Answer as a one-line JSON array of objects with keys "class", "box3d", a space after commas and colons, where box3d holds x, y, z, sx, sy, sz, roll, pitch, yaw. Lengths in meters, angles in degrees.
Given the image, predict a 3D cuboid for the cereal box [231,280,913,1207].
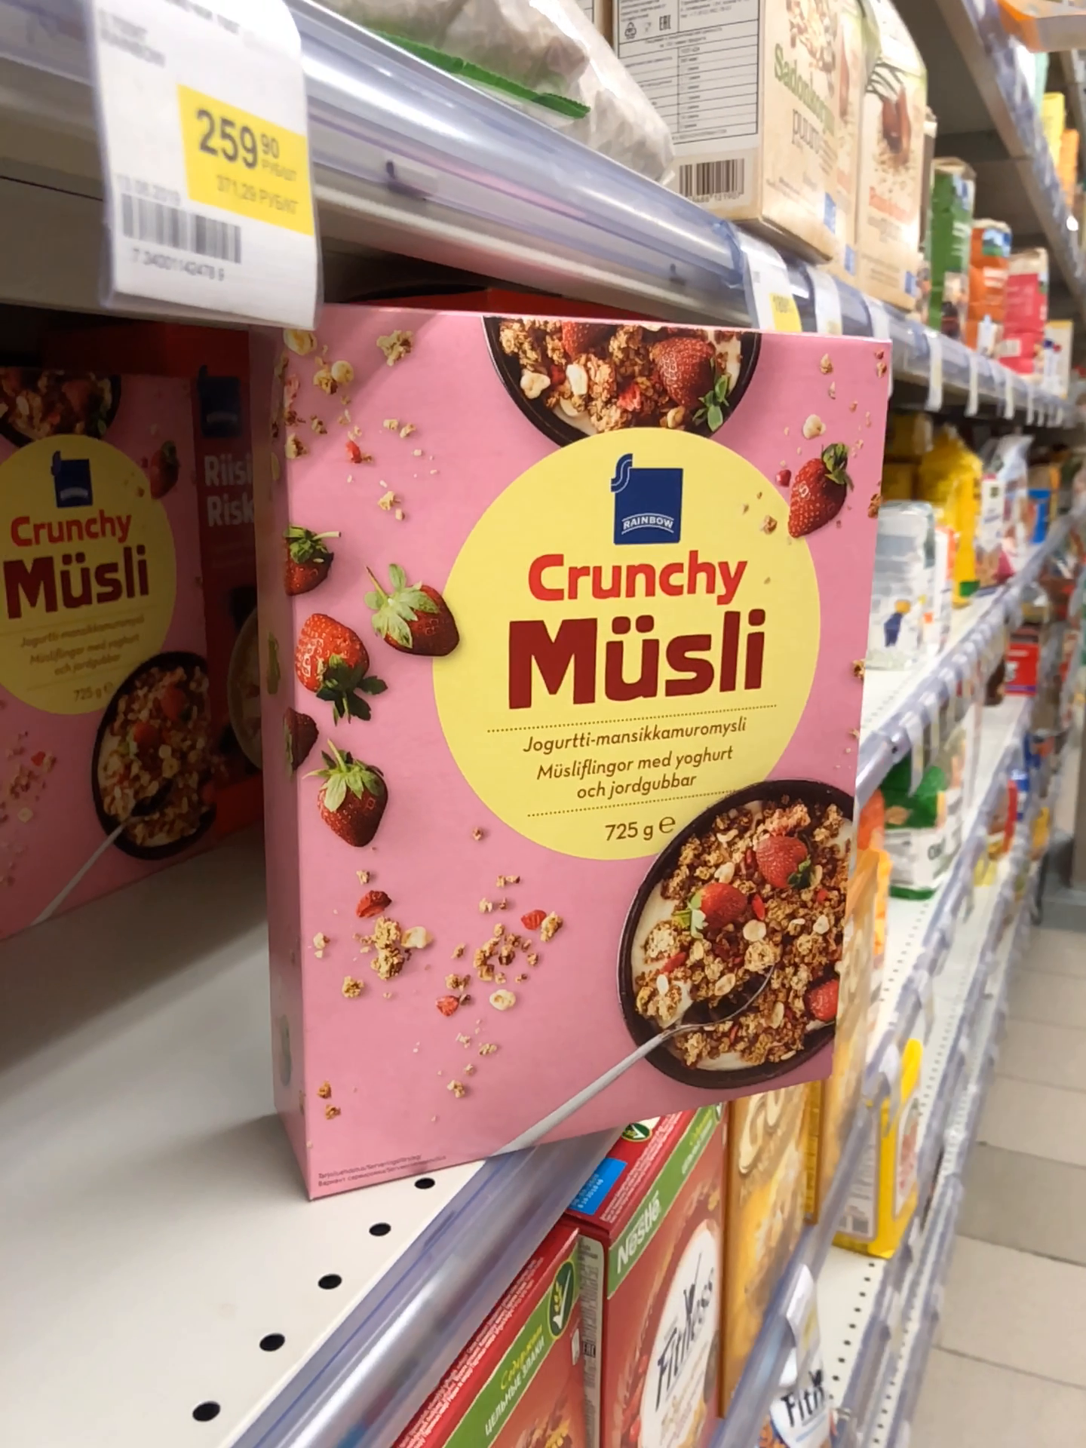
[{"class": "cereal box", "box3d": [0.009, 0.002, 0.393, 0.200, 0.259, 0.060, -4, 14, -24]}]
